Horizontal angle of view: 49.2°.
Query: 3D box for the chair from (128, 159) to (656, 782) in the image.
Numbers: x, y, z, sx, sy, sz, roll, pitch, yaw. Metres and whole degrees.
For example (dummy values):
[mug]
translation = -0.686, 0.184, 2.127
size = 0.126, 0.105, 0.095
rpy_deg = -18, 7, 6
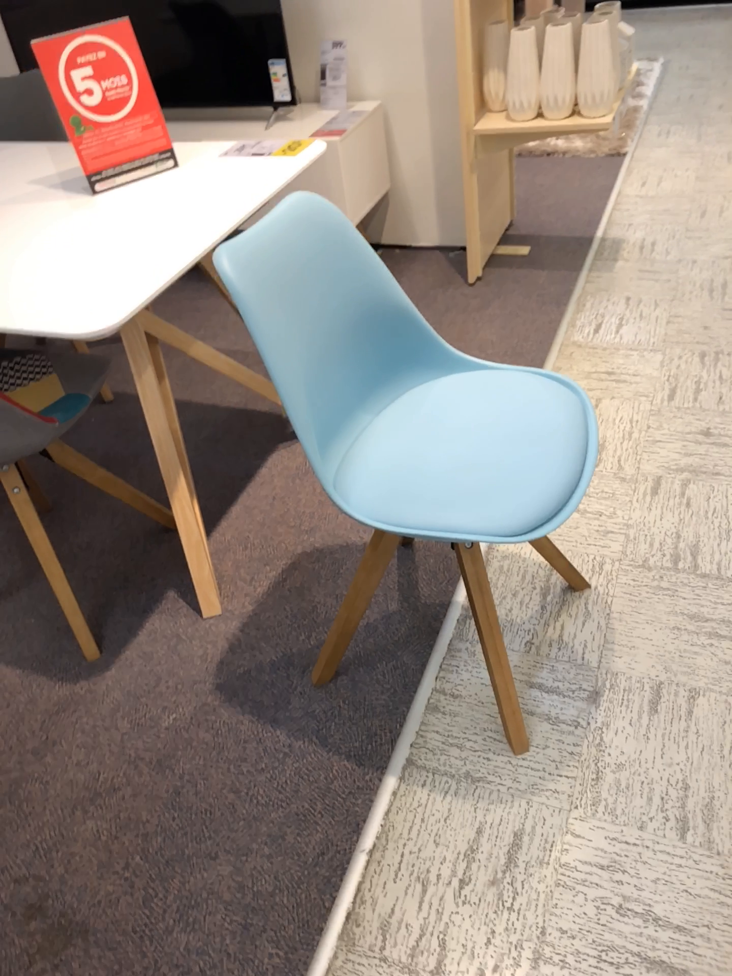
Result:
[chair]
translation = 0.108, -0.048, 1.341
size = 0.560, 0.795, 0.543
rpy_deg = 11, 42, 23
